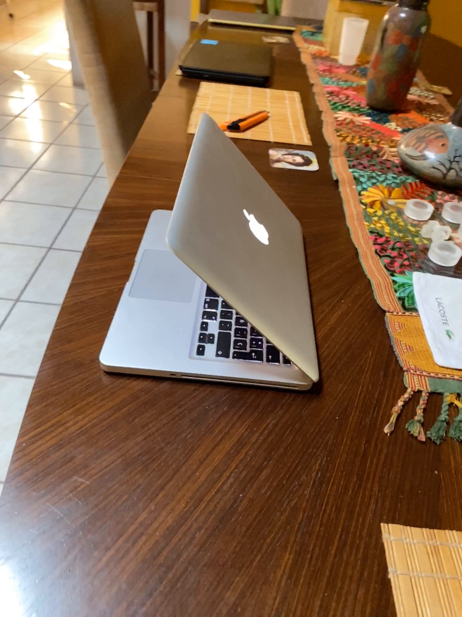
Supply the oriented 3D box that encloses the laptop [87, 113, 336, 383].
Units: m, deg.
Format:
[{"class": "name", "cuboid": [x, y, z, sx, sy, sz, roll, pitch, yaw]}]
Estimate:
[{"class": "laptop", "cuboid": [-0.019, -0.093, 0.573, 0.212, 0.152, 0.323, 5, 40, -2]}]
